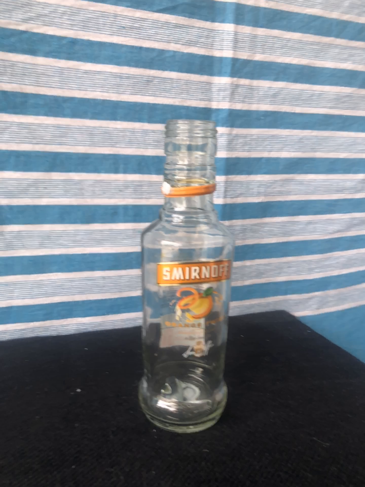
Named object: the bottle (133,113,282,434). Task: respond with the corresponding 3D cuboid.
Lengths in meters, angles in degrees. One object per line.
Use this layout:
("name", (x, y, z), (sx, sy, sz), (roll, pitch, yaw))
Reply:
("bottle", (0.007, 0.018, 0.233), (0.060, 0.169, 0.050), (3, 14, -9))
